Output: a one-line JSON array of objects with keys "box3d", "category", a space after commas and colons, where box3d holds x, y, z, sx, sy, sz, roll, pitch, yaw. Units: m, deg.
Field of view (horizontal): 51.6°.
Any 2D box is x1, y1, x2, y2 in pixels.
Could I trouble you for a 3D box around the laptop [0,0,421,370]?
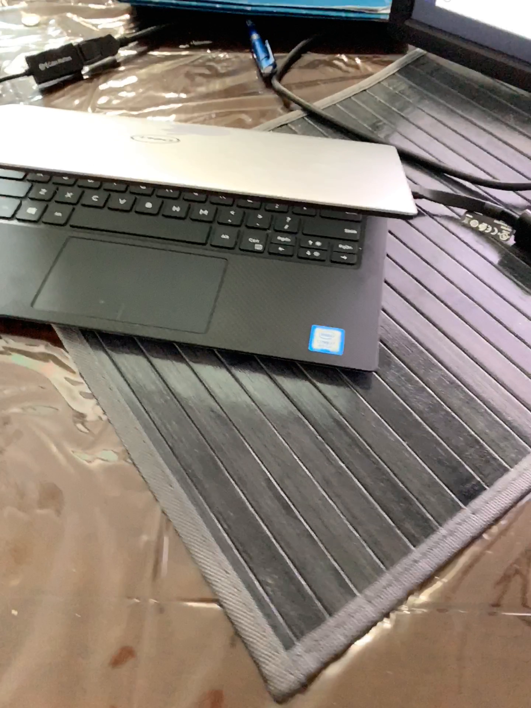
[{"box3d": [-0.067, -0.111, 0.320, 0.290, 0.081, 0.183, 8, 56, 5], "category": "laptop"}]
